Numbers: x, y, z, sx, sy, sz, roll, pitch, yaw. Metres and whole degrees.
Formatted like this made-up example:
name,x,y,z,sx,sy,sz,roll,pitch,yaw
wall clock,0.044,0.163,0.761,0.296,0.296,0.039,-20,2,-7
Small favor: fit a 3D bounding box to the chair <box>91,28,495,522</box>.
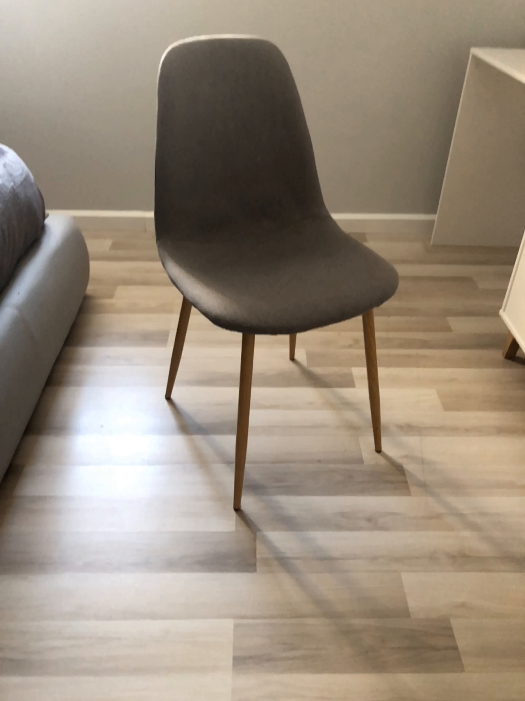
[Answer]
name,x,y,z,sx,sy,sz,roll,pitch,yaw
chair,0.007,-0.191,1.211,0.472,0.785,0.572,-16,39,-23
